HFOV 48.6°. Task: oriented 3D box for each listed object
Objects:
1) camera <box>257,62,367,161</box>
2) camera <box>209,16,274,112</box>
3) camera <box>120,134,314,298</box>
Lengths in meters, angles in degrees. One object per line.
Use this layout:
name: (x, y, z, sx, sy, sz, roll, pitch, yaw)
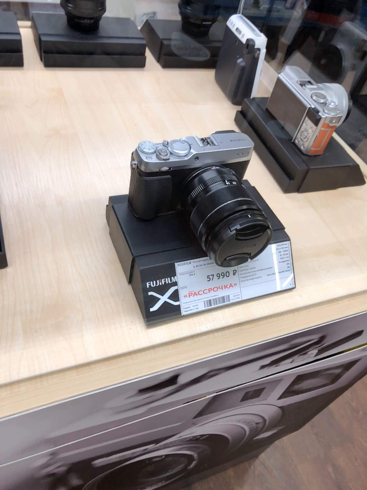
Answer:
camera: (0.175, -0.187, 0.559, 0.077, 0.068, 0.132, -9, 51, -22)
camera: (0.087, -0.285, 0.643, 0.045, 0.109, 0.088, -9, 52, -19)
camera: (0.023, -0.033, 0.385, 0.132, 0.080, 0.116, -10, 52, -23)
